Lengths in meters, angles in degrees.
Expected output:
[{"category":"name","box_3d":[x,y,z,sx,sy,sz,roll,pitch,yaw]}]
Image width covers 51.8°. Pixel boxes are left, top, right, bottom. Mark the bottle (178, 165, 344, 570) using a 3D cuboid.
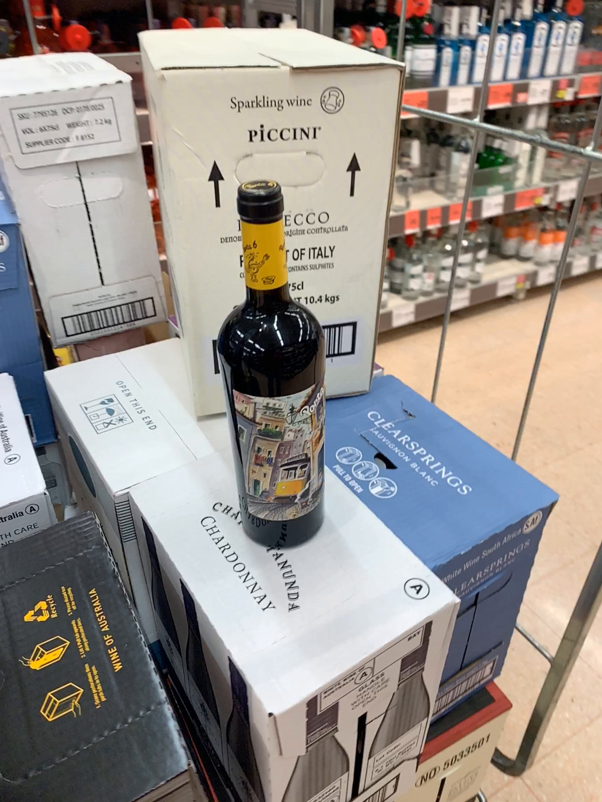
[{"category":"bottle","box_3d":[-0.028,-0.013,0.470,0.078,0.295,0.077,0,34,0]}]
